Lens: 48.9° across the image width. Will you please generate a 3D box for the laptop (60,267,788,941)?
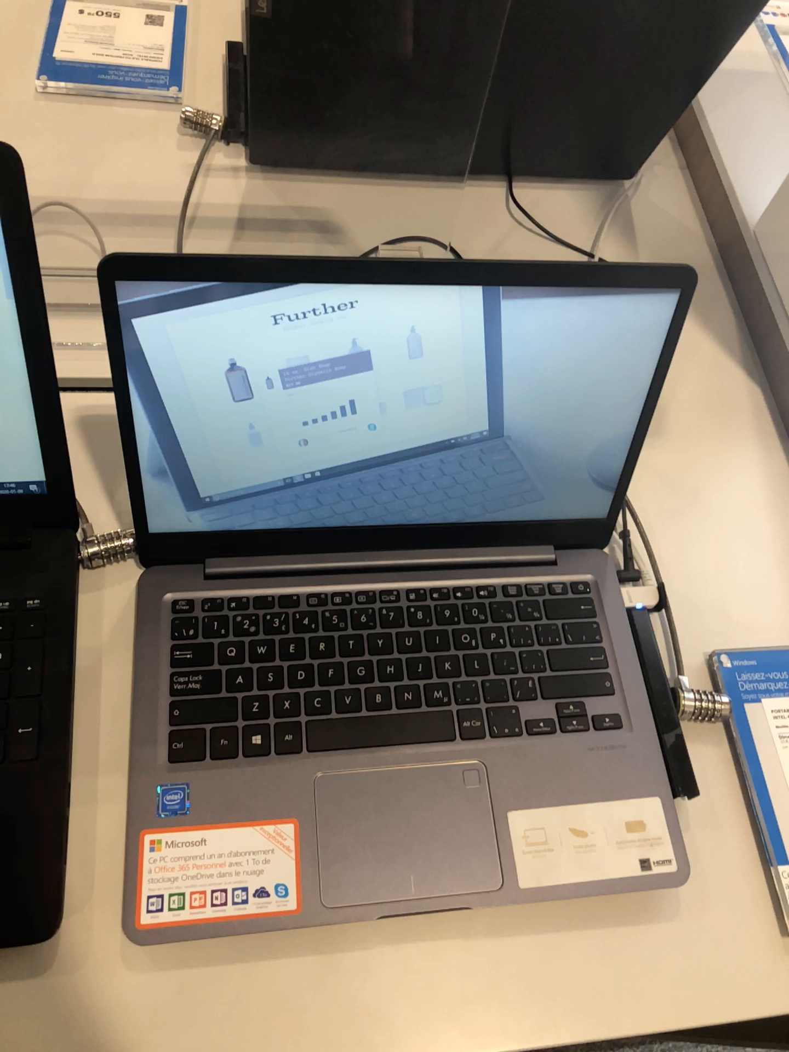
[{"bbox_3d":[0.016,0.039,0.474,0.316,0.197,0.292,-2,62,-10],"label":"laptop"}]
